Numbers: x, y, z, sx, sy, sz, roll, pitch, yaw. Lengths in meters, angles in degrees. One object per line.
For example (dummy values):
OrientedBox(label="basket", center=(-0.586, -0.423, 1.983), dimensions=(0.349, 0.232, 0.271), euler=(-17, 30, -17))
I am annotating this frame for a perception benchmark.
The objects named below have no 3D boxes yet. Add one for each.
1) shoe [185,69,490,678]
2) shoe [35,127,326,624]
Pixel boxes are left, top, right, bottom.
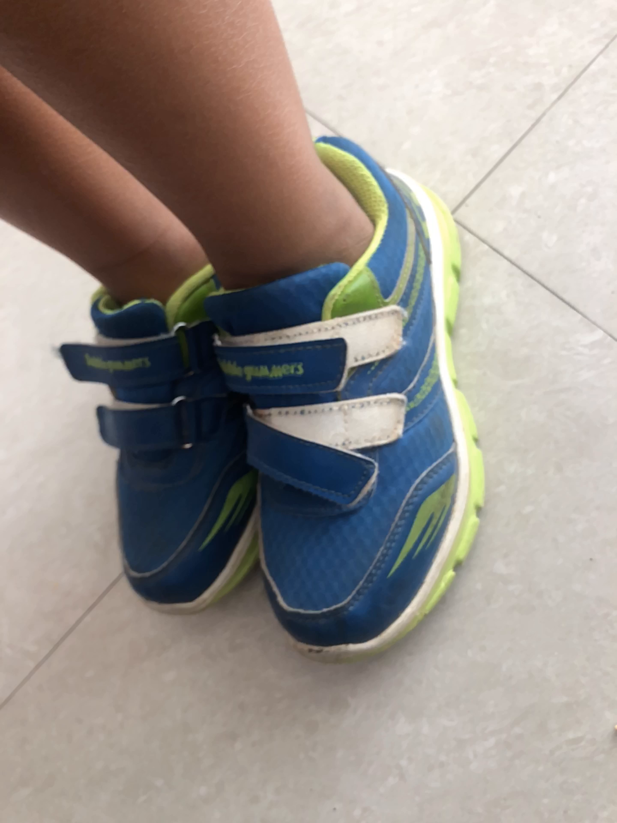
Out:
OrientedBox(label="shoe", center=(0.019, -0.015, 0.284), dimensions=(0.090, 0.060, 0.220), euler=(-4, 72, 30))
OrientedBox(label="shoe", center=(-0.056, -0.016, 0.341), dimensions=(0.090, 0.060, 0.220), euler=(-2, 72, 30))
